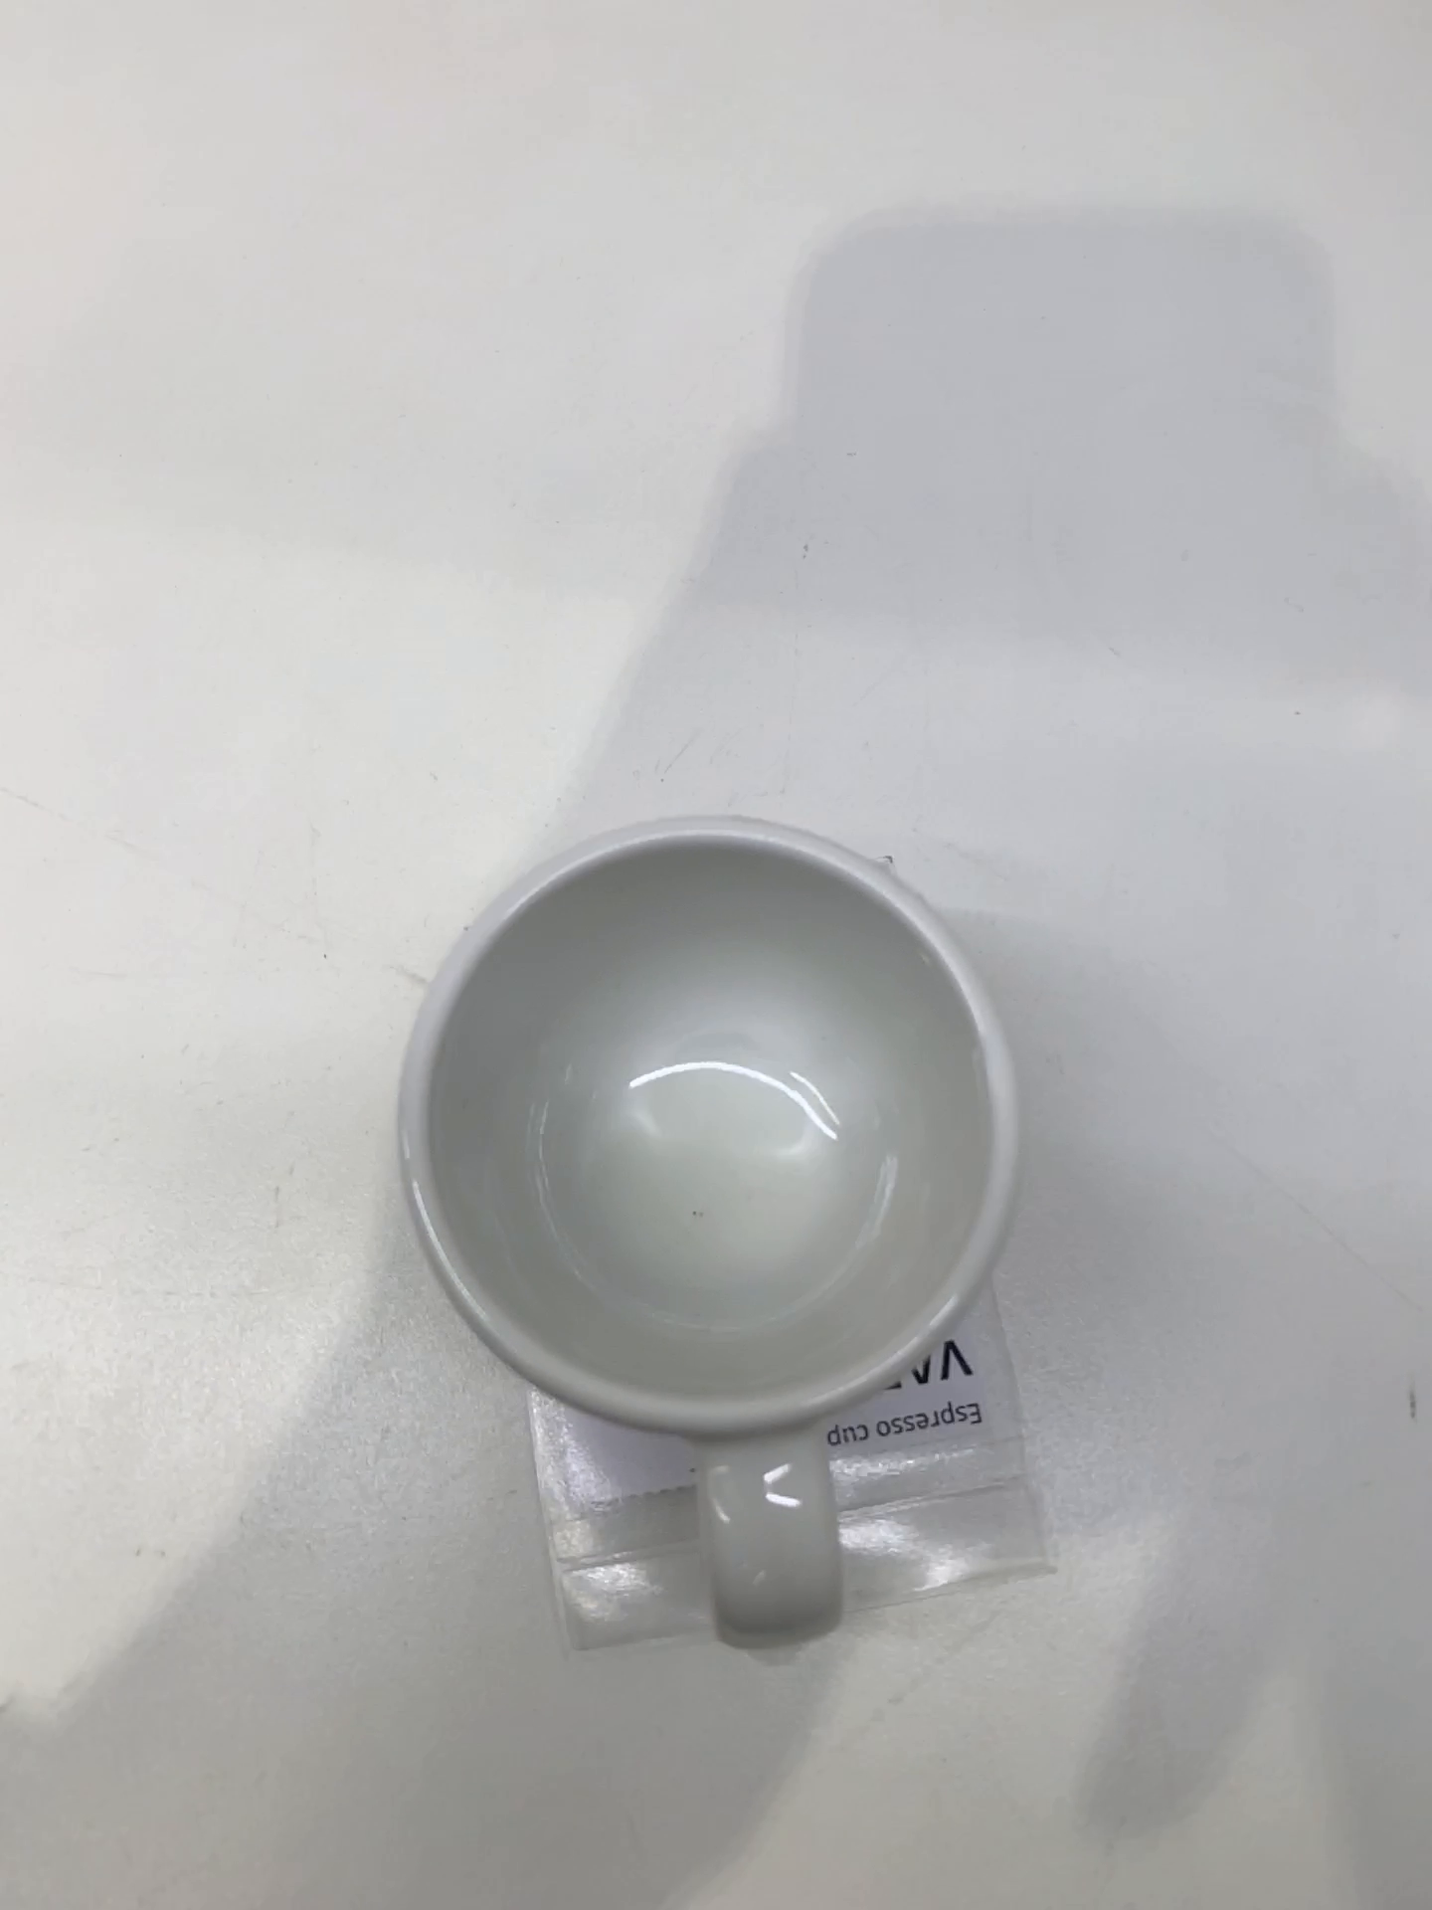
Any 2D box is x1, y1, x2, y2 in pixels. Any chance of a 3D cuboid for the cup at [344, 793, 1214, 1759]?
[{"bbox_3d":[0.003,0.032,0.159,0.070,0.040,0.080,-8,72,-2],"label":"cup"}]
